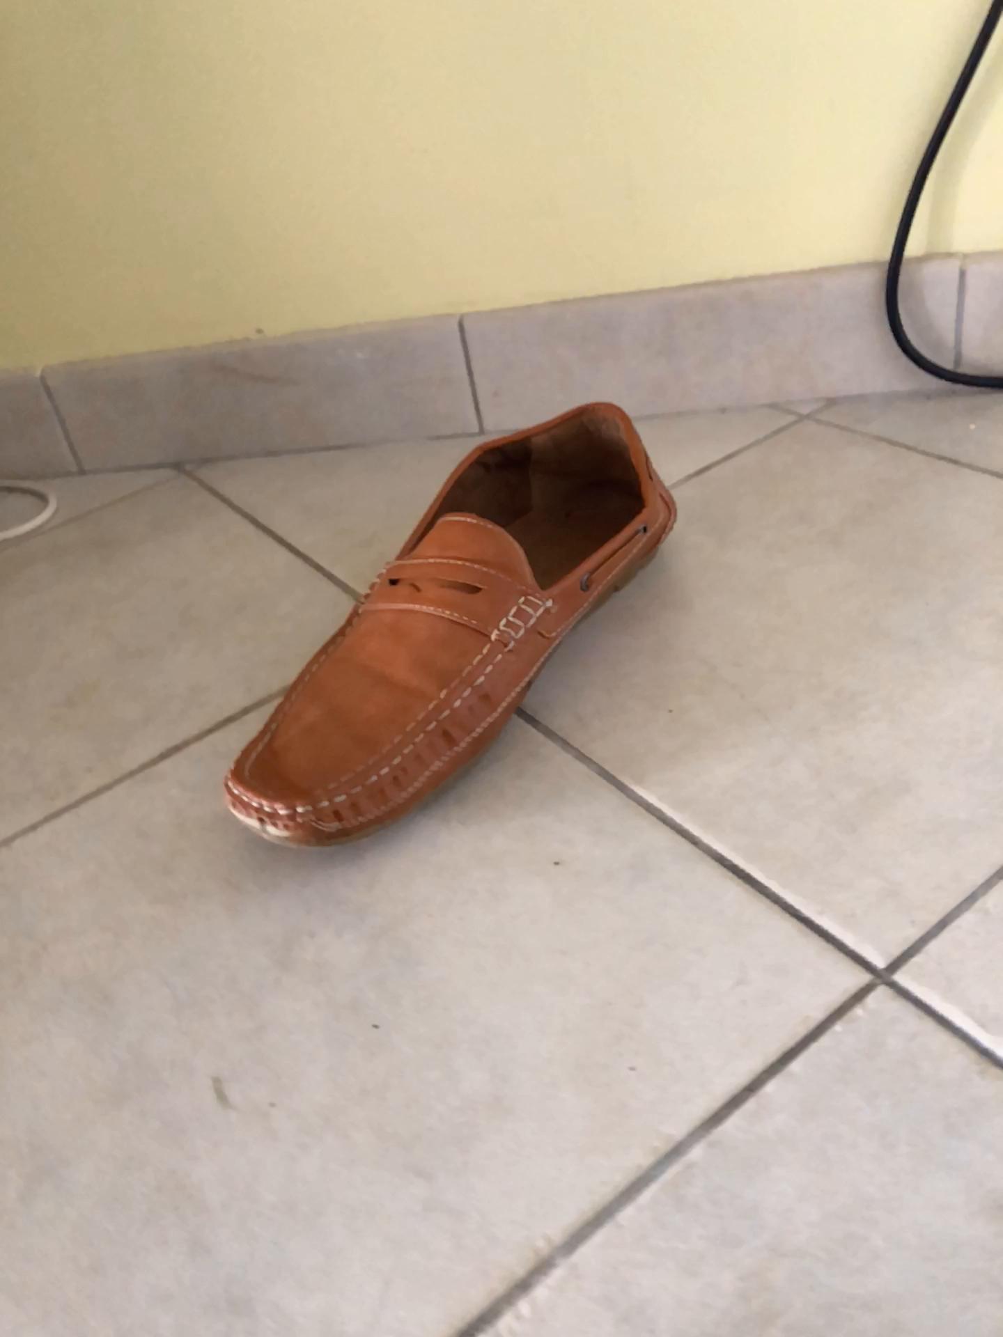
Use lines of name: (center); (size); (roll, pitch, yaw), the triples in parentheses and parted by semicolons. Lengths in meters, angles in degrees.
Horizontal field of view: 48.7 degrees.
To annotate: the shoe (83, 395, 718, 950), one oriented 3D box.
shoe: (-0.023, -0.024, 0.488); (0.130, 0.070, 0.282); (13, 43, 30)
